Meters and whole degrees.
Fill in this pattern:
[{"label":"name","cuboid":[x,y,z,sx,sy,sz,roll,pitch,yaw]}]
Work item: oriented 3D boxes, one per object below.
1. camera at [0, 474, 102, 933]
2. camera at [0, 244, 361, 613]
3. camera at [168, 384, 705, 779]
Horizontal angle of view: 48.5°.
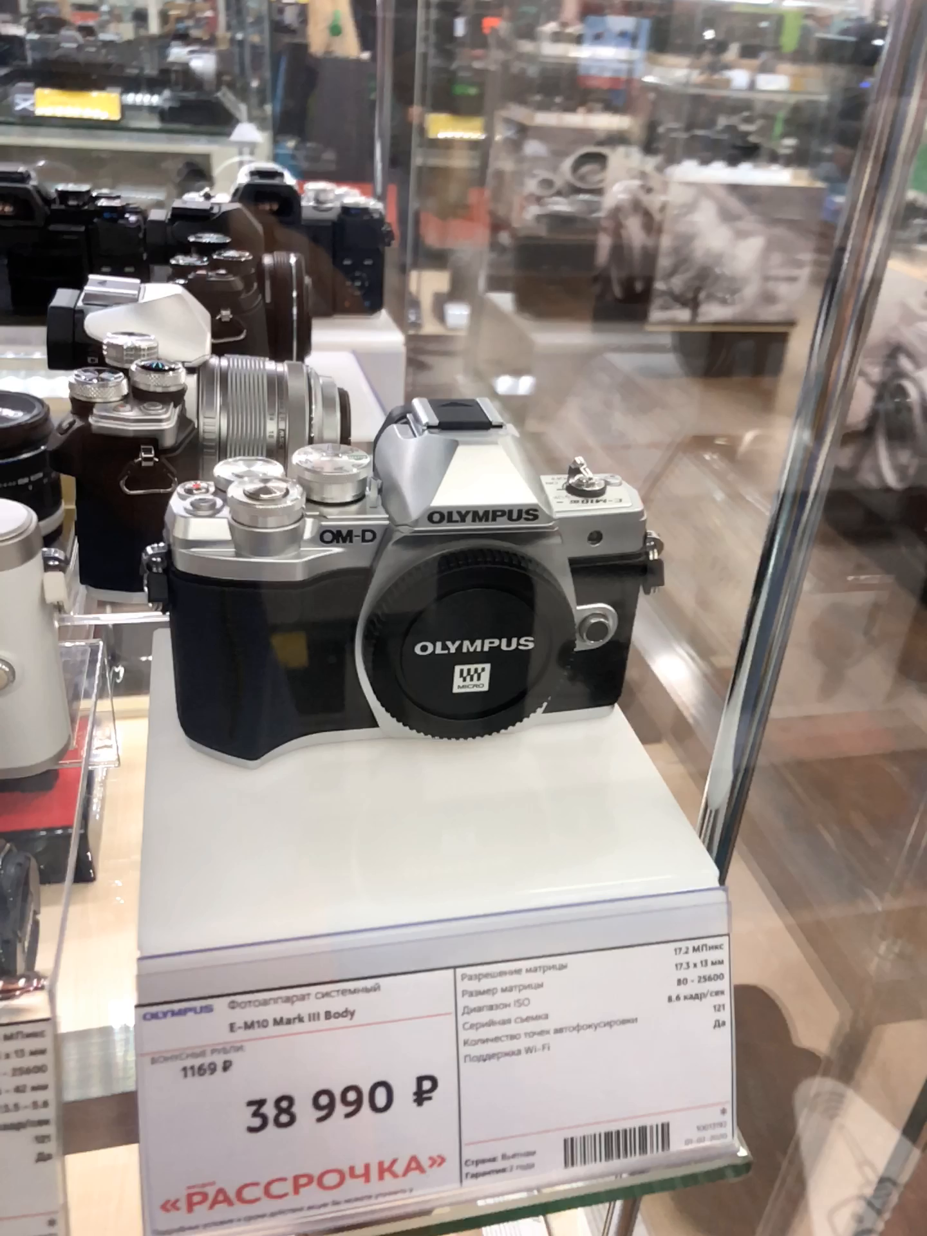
[{"label":"camera","cuboid":[-0.153,0.014,0.233,0.124,0.068,0.068,-3,31,-13]},{"label":"camera","cuboid":[-0.101,-0.077,0.372,0.101,0.084,0.137,-5,32,-16]},{"label":"camera","cuboid":[-0.012,-0.014,0.273,0.121,0.077,0.065,-4,31,-14]}]
